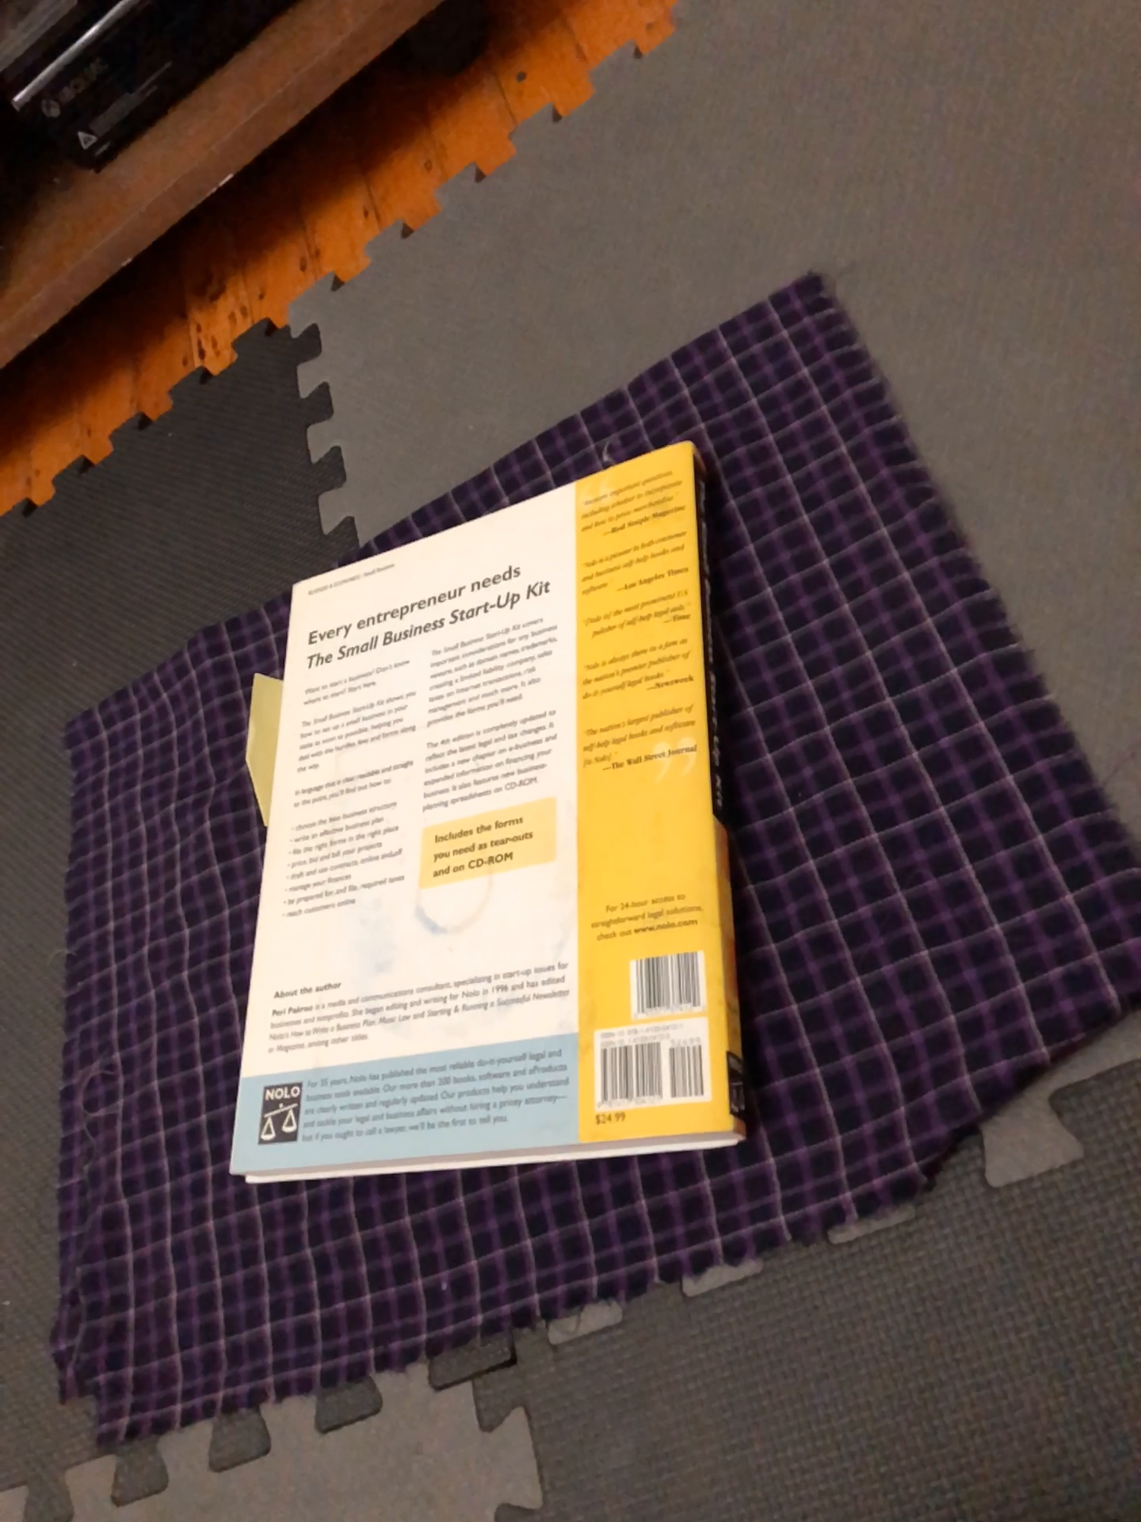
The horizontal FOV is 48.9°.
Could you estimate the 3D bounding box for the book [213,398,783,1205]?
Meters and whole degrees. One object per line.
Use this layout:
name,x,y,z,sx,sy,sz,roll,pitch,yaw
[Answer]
book,-0.035,0.016,0.527,0.230,0.030,0.311,-14,61,27
